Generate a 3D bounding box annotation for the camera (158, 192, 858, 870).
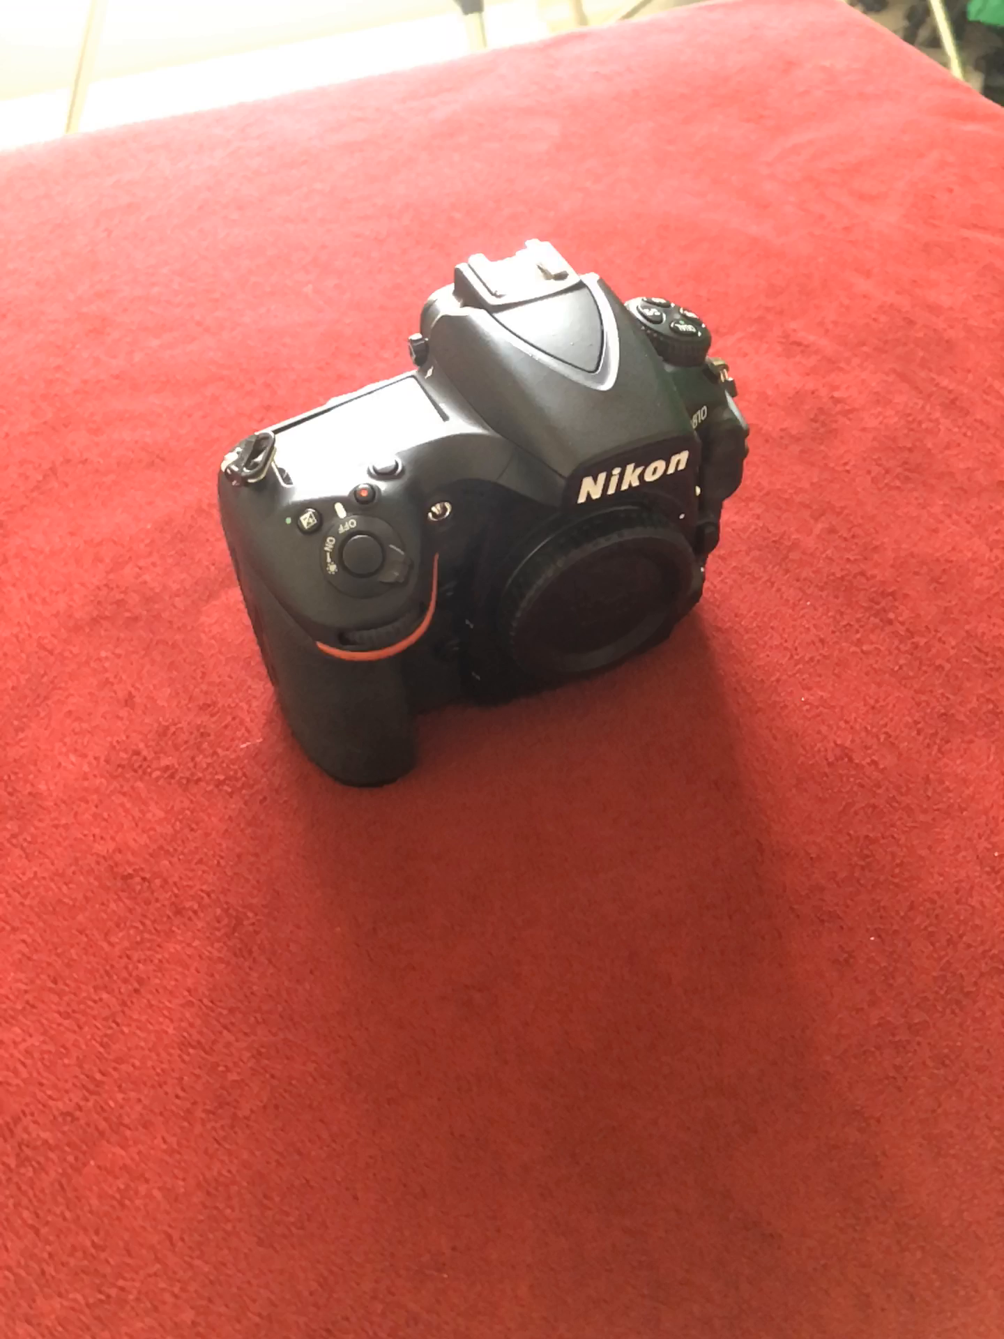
[{"bbox_3d":[0.002,-0.037,0.318,0.145,0.129,0.083,-22,54,-15],"label":"camera"}]
